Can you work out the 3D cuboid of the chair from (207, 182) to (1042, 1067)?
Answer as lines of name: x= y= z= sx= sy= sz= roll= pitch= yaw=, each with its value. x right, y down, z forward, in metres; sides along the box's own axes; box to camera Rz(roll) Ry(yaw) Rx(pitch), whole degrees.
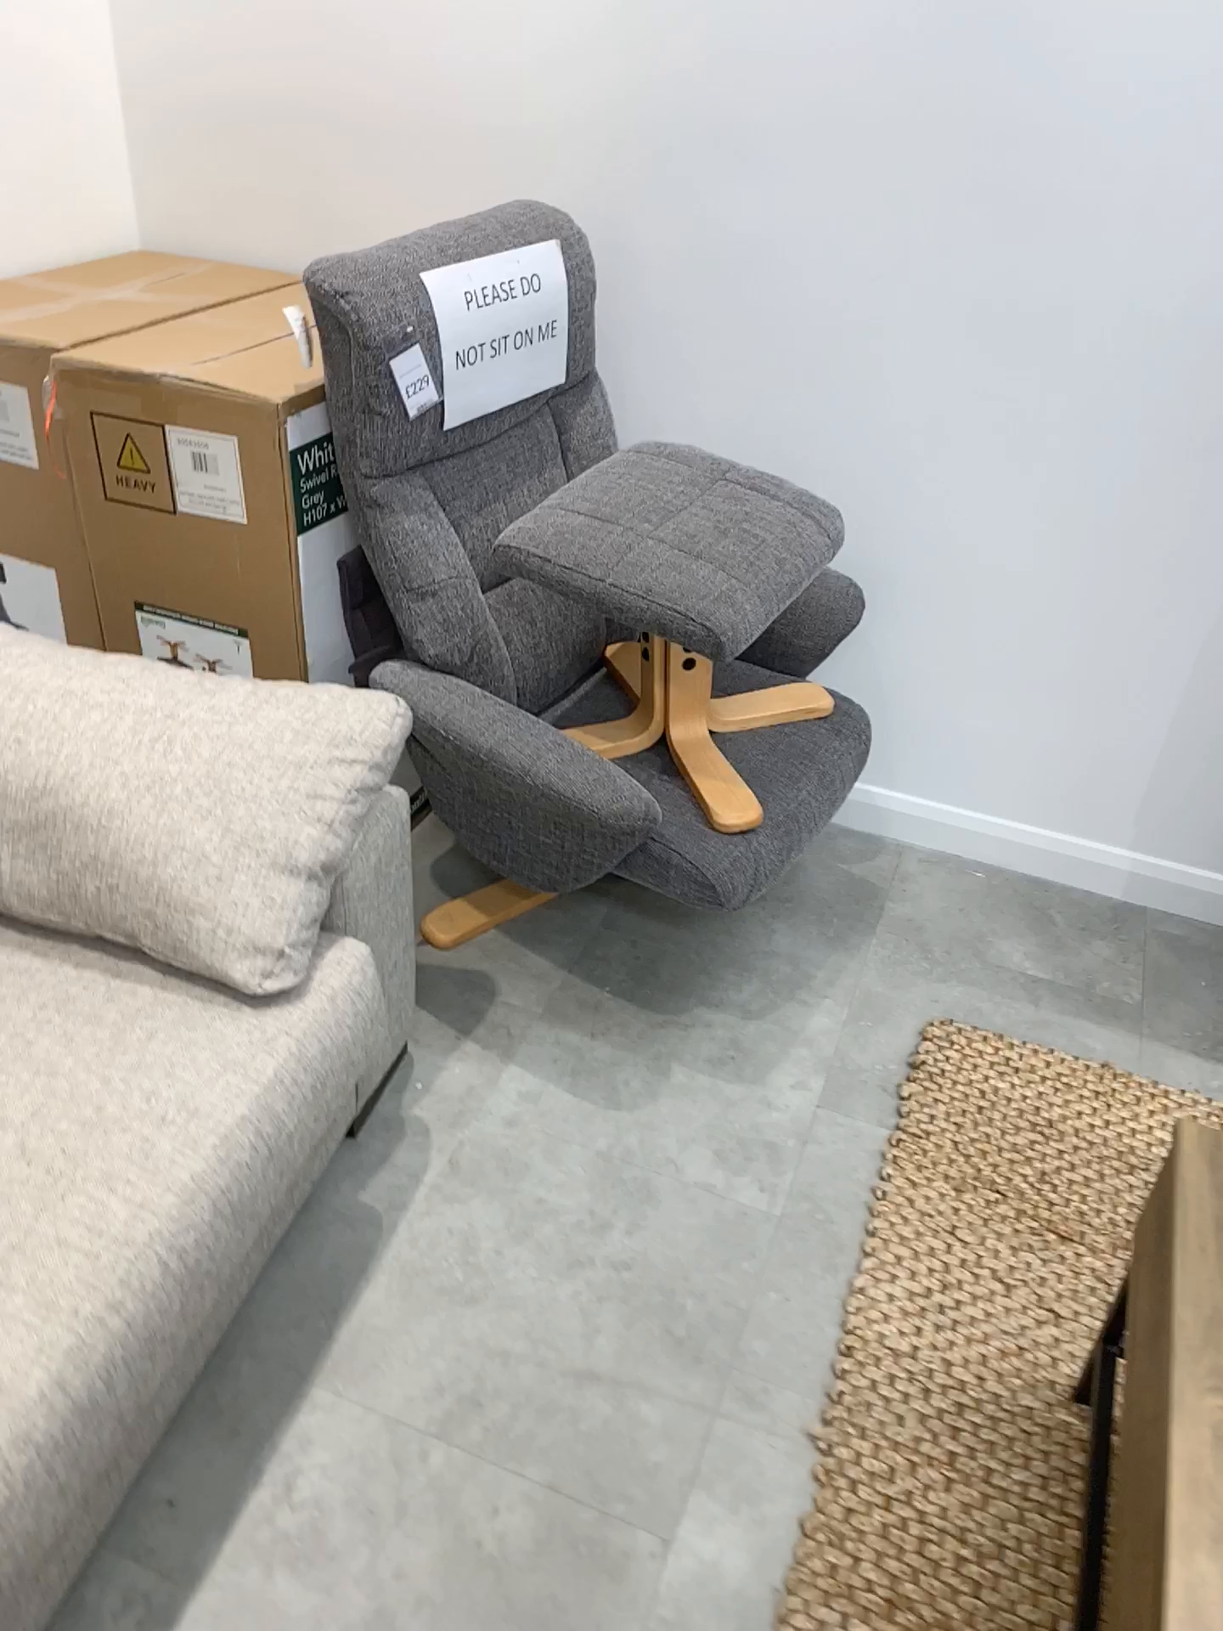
chair: x=0.053 y=-0.366 z=1.865 sx=0.787 sy=0.896 sz=0.873 roll=19 pitch=36 yaw=21

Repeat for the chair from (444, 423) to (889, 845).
chair: x=0.084 y=-0.293 z=1.807 sx=0.446 sy=0.352 sz=0.500 roll=19 pitch=36 yaw=20
